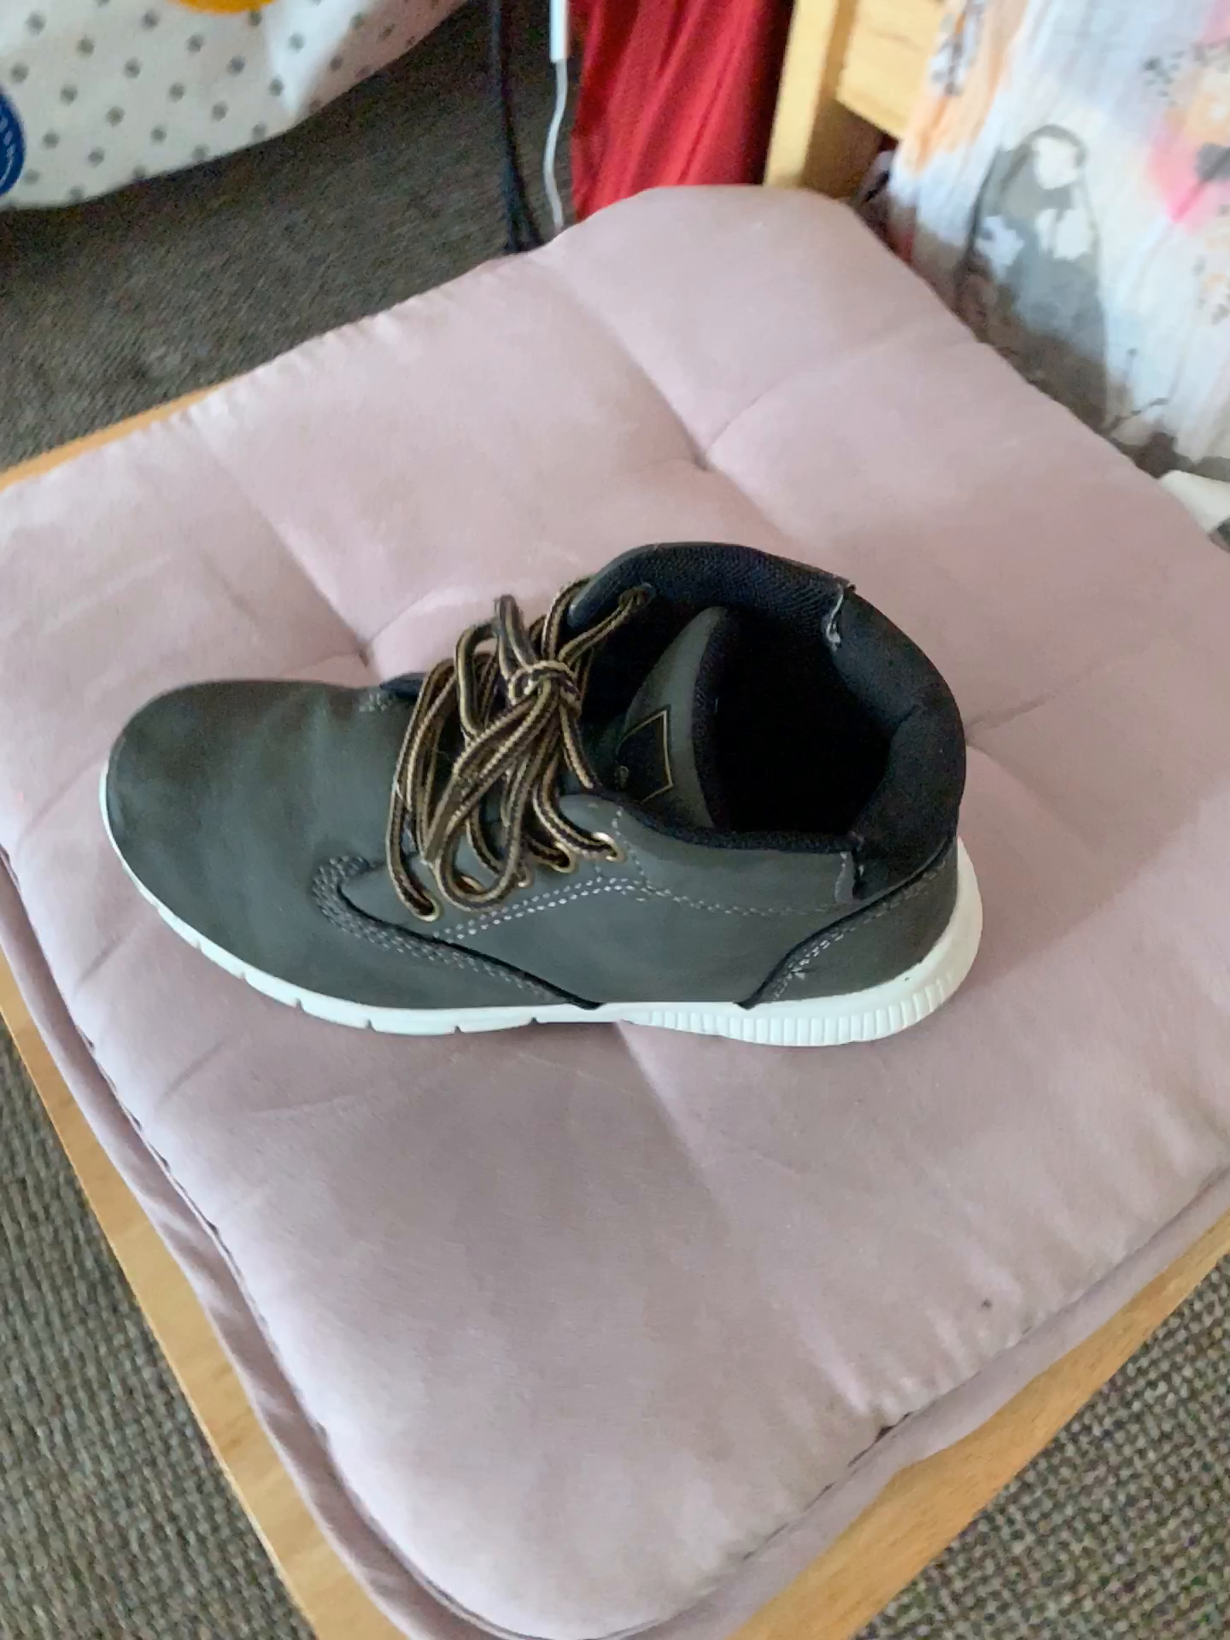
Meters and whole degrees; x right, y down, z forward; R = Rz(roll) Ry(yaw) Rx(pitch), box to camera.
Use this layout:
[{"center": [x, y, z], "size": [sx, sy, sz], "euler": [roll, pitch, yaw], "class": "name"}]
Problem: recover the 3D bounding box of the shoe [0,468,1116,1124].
[{"center": [-0.014, 0.002, 0.323], "size": [0.230, 0.129, 0.100], "euler": [6, 66, 3], "class": "shoe"}]
